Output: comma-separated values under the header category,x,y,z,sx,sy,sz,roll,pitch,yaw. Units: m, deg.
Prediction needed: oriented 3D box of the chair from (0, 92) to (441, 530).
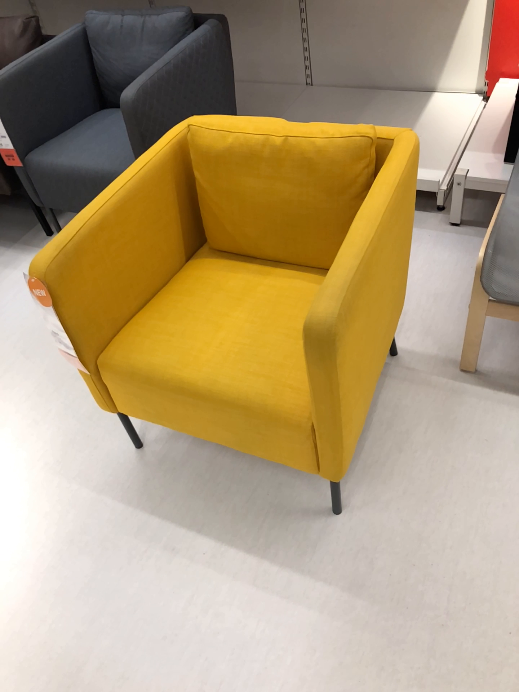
category,x,y,z,sx,sy,sz,roll,pitch,yaw
chair,-0.022,-0.121,1.404,0.721,0.696,0.663,13,50,23
